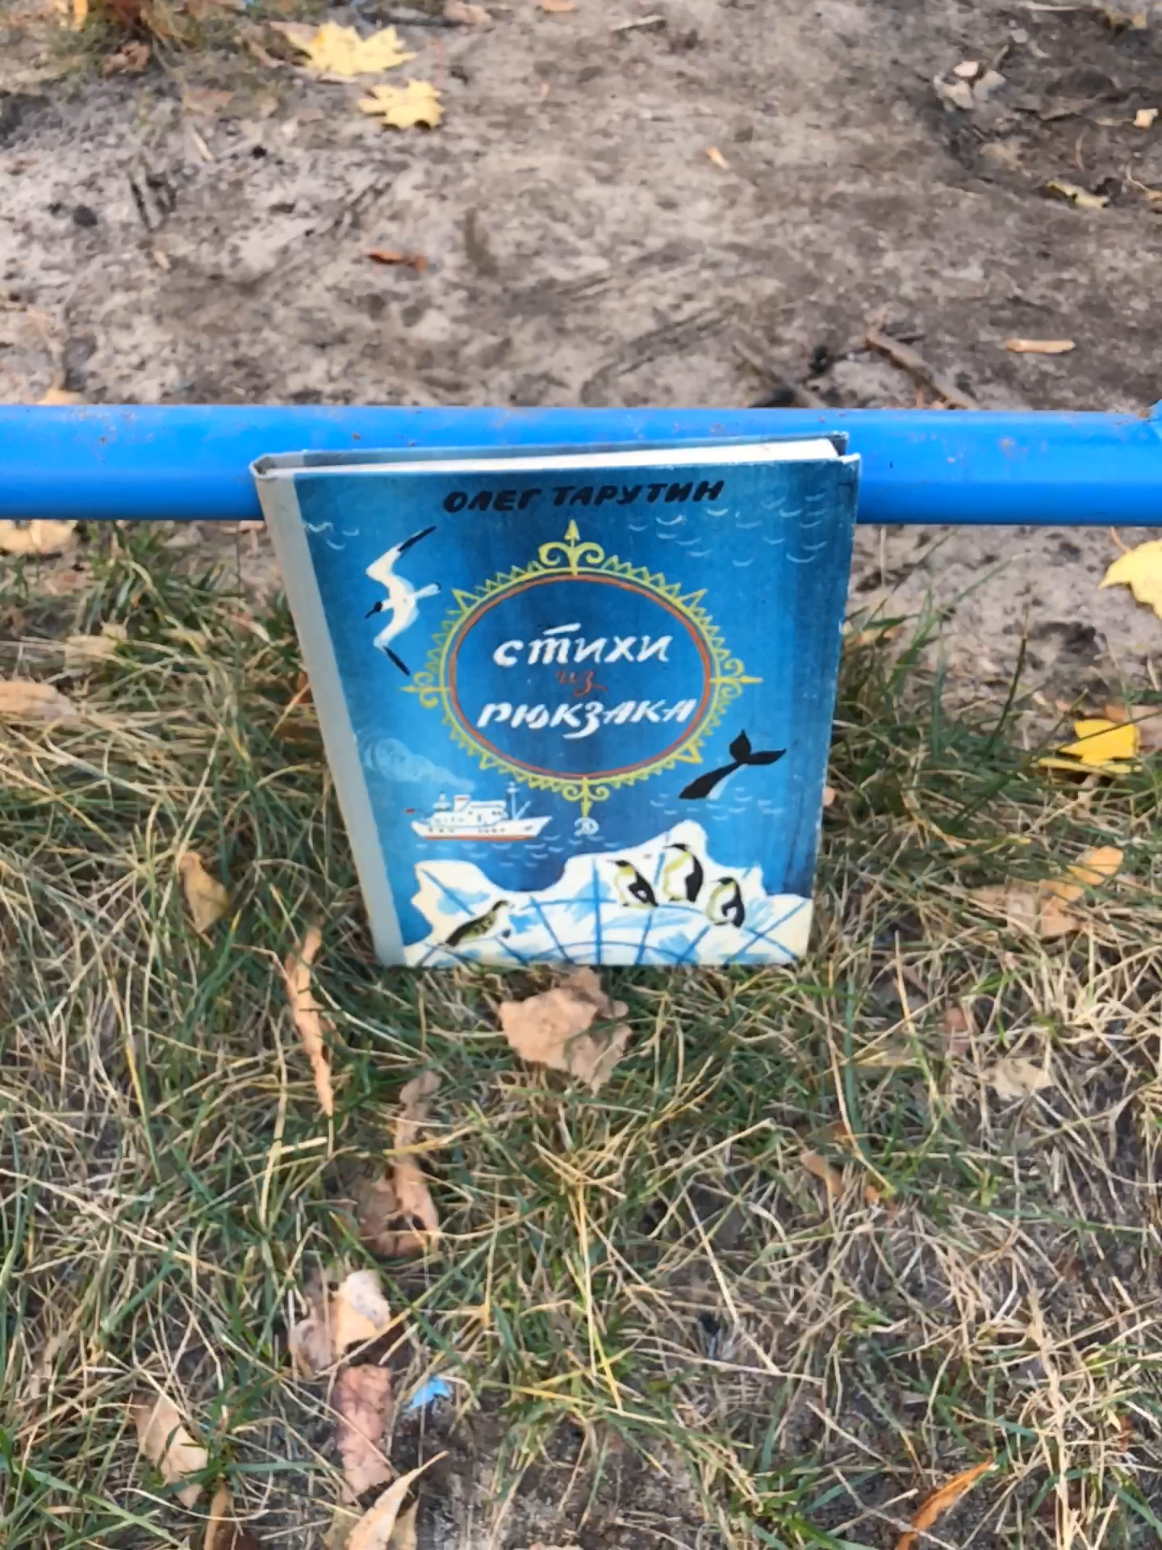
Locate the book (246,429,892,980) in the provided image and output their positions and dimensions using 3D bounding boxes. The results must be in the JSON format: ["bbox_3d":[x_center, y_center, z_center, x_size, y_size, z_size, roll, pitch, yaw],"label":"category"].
[{"bbox_3d":[-0.003,-0.012,0.433,0.179,0.209,0.023,-1,40,-1],"label":"book"}]
